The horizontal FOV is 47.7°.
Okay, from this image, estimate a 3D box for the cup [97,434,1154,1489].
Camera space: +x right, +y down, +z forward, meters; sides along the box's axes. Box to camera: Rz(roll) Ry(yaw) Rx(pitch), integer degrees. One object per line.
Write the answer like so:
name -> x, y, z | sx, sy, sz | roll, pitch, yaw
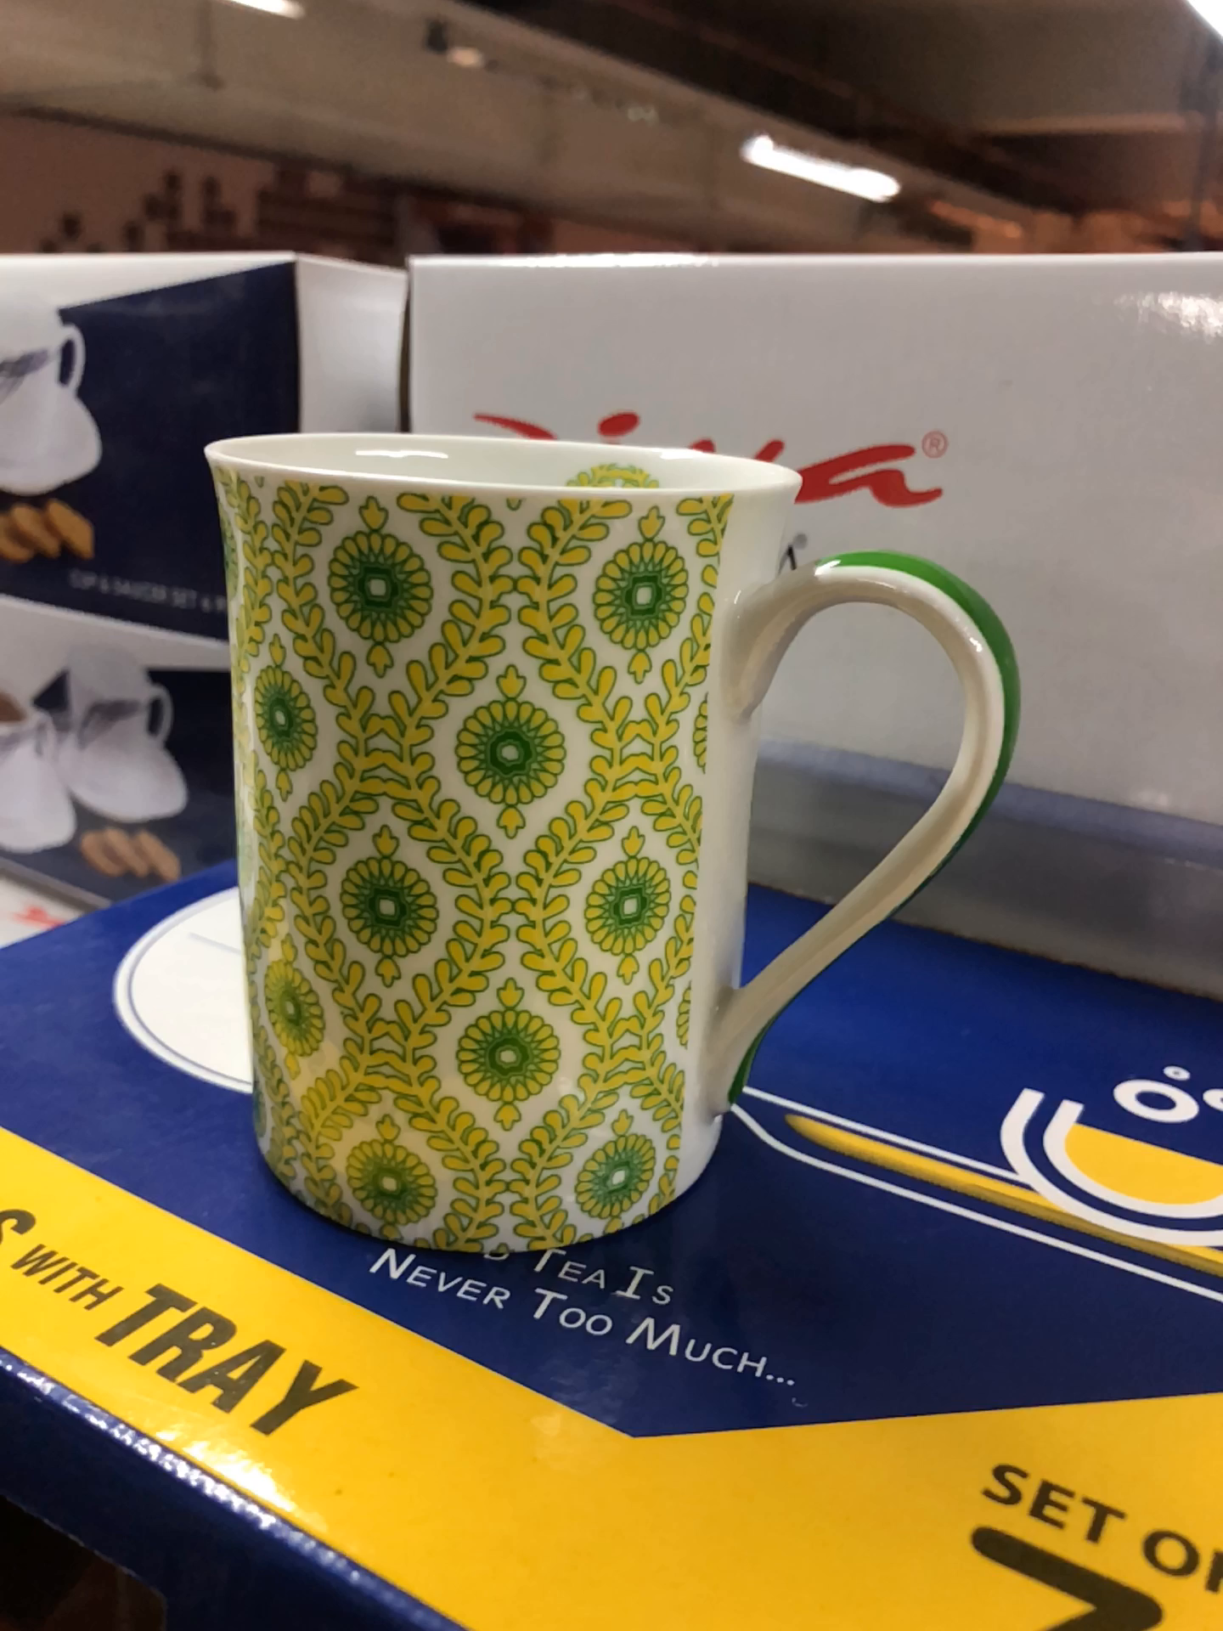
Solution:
cup -> 0.000, 0.003, 0.173 | 0.100, 0.090, 0.070 | 14, 21, 32
